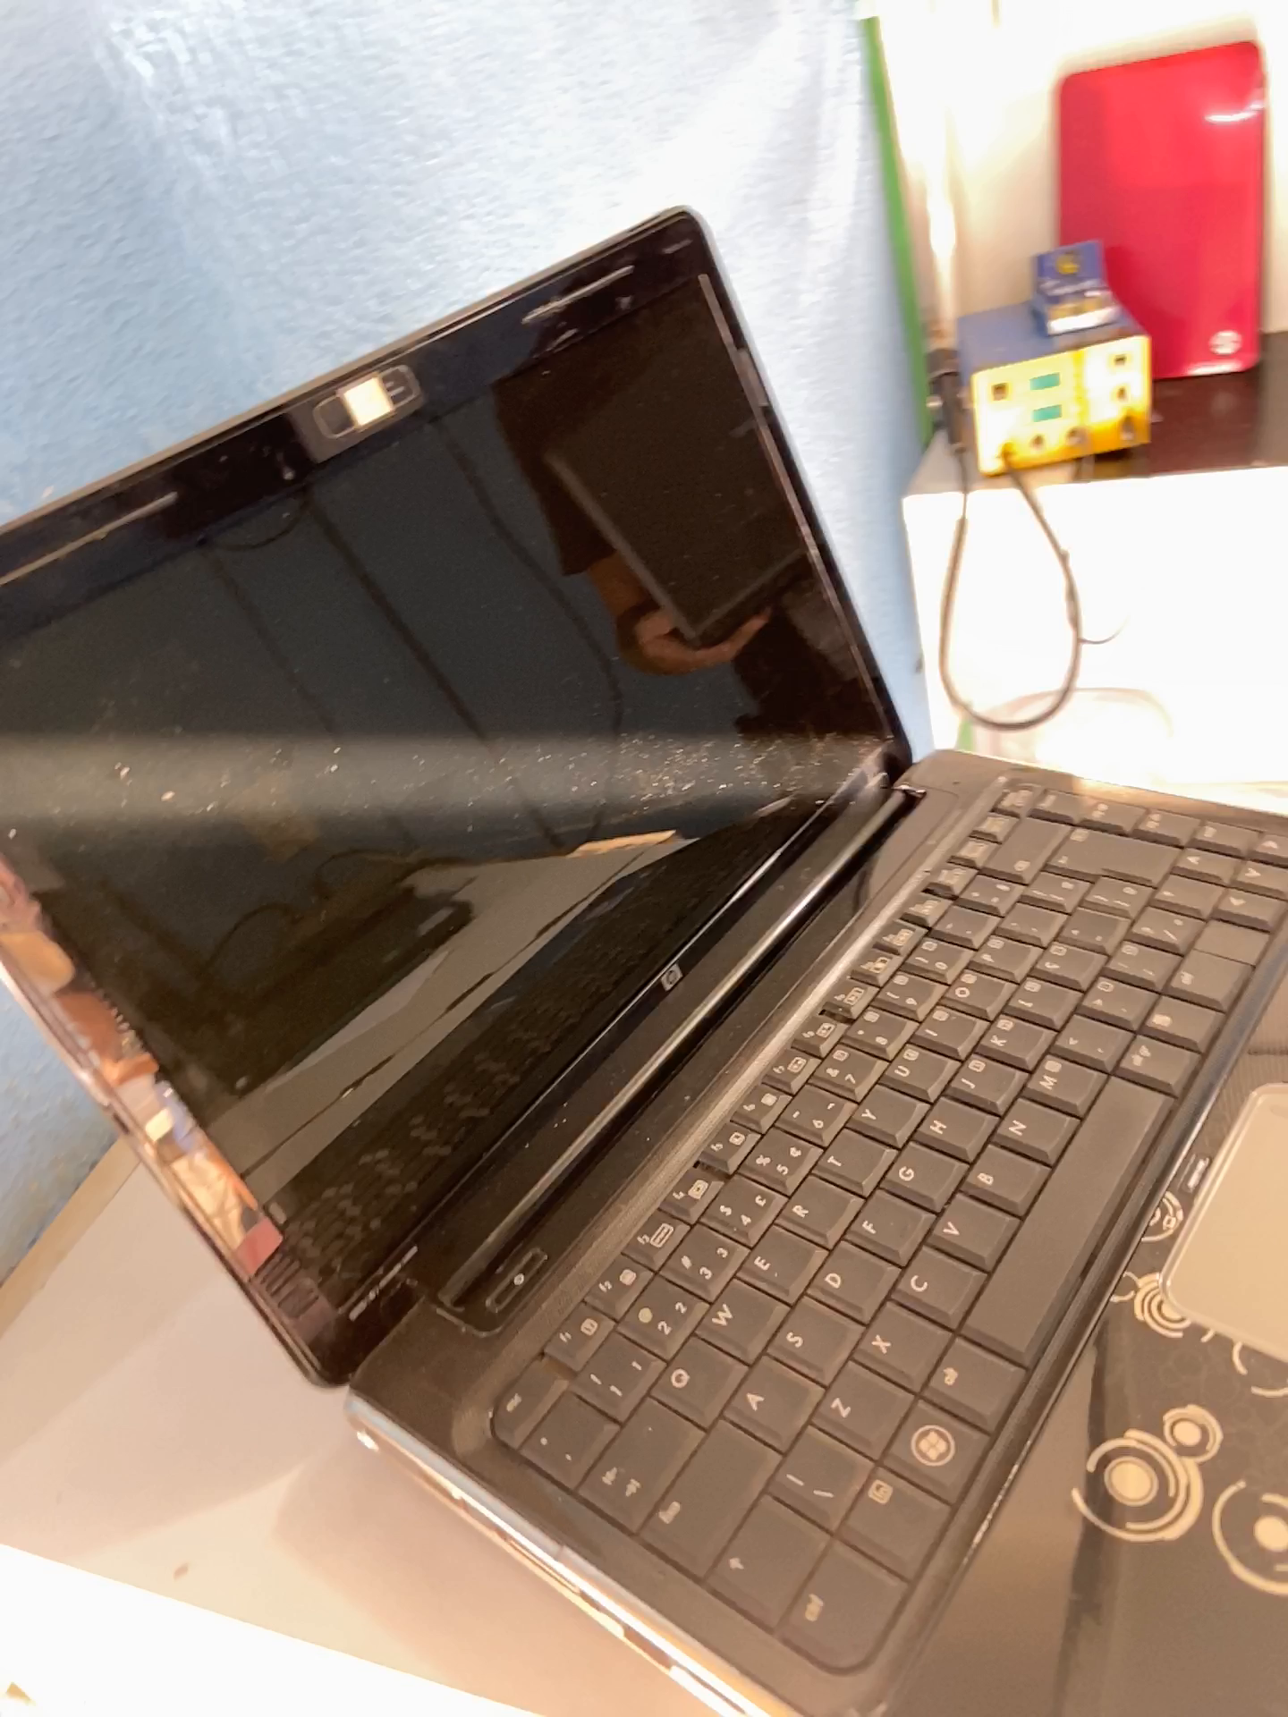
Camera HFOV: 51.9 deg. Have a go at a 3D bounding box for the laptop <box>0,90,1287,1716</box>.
[{"bbox_3d":[0.052,-0.022,0.337,0.302,0.210,0.323,15,44,37],"label":"laptop"}]
